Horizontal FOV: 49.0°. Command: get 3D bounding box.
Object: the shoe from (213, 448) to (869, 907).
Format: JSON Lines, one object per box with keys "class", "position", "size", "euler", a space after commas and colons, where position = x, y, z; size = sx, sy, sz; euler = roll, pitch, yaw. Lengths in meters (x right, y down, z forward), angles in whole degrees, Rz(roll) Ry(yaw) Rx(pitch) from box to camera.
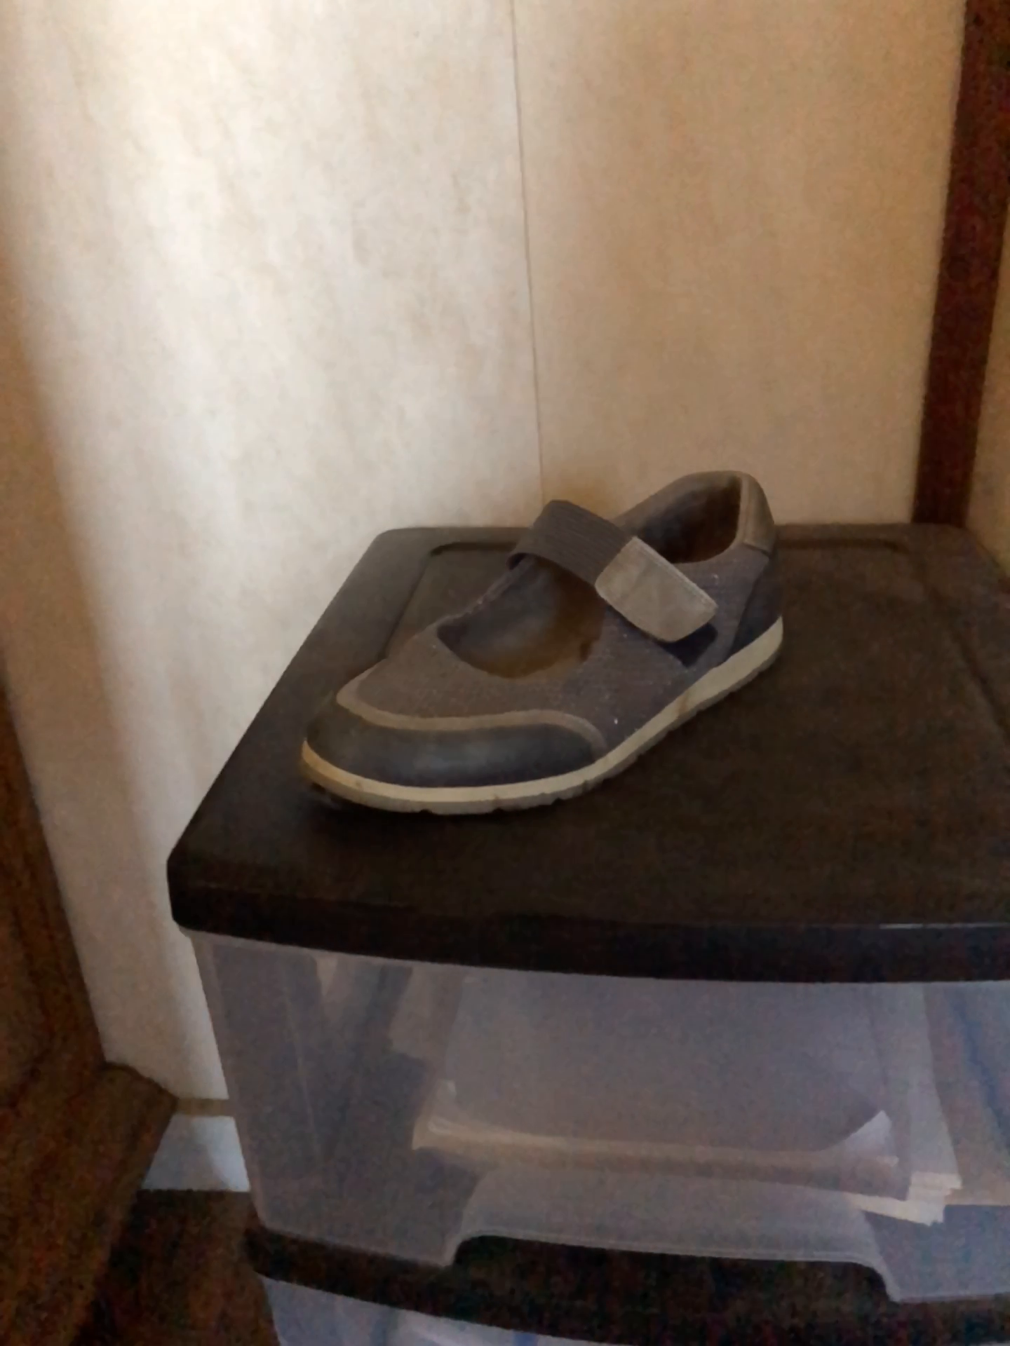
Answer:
{"class": "shoe", "position": [0.028, -0.018, 0.466], "size": [0.261, 0.080, 0.110], "euler": [-24, 32, -35]}
